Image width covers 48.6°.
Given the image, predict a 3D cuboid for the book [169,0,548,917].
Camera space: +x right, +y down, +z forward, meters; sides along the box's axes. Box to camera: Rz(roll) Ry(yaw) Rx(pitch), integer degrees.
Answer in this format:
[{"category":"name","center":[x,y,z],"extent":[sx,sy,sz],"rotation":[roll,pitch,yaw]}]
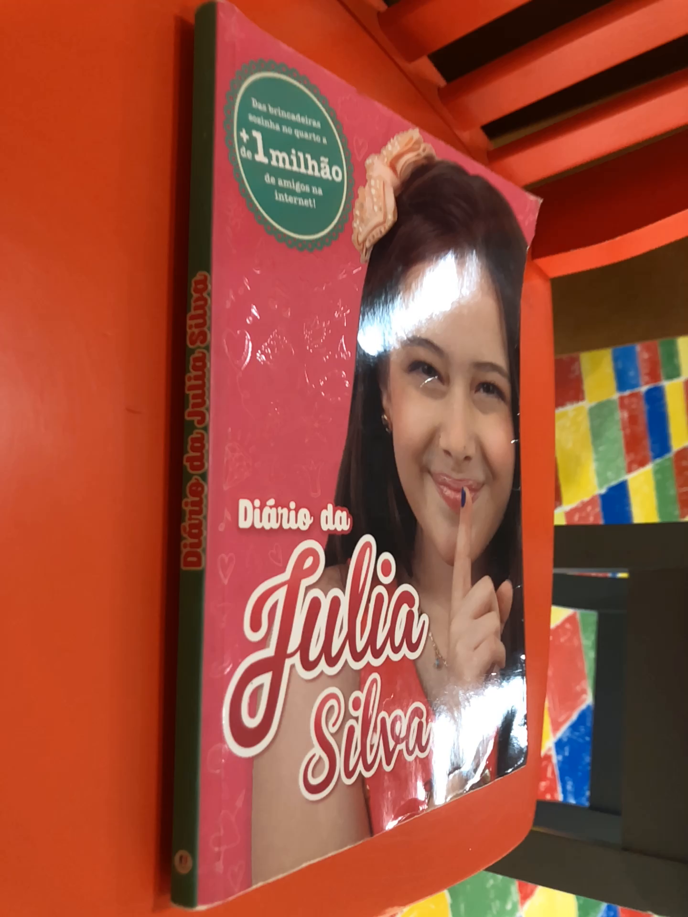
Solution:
[{"category":"book","center":[0.019,-0.004,0.258],"extent":[0.172,0.020,0.241],"rotation":[9,78,-51]}]
